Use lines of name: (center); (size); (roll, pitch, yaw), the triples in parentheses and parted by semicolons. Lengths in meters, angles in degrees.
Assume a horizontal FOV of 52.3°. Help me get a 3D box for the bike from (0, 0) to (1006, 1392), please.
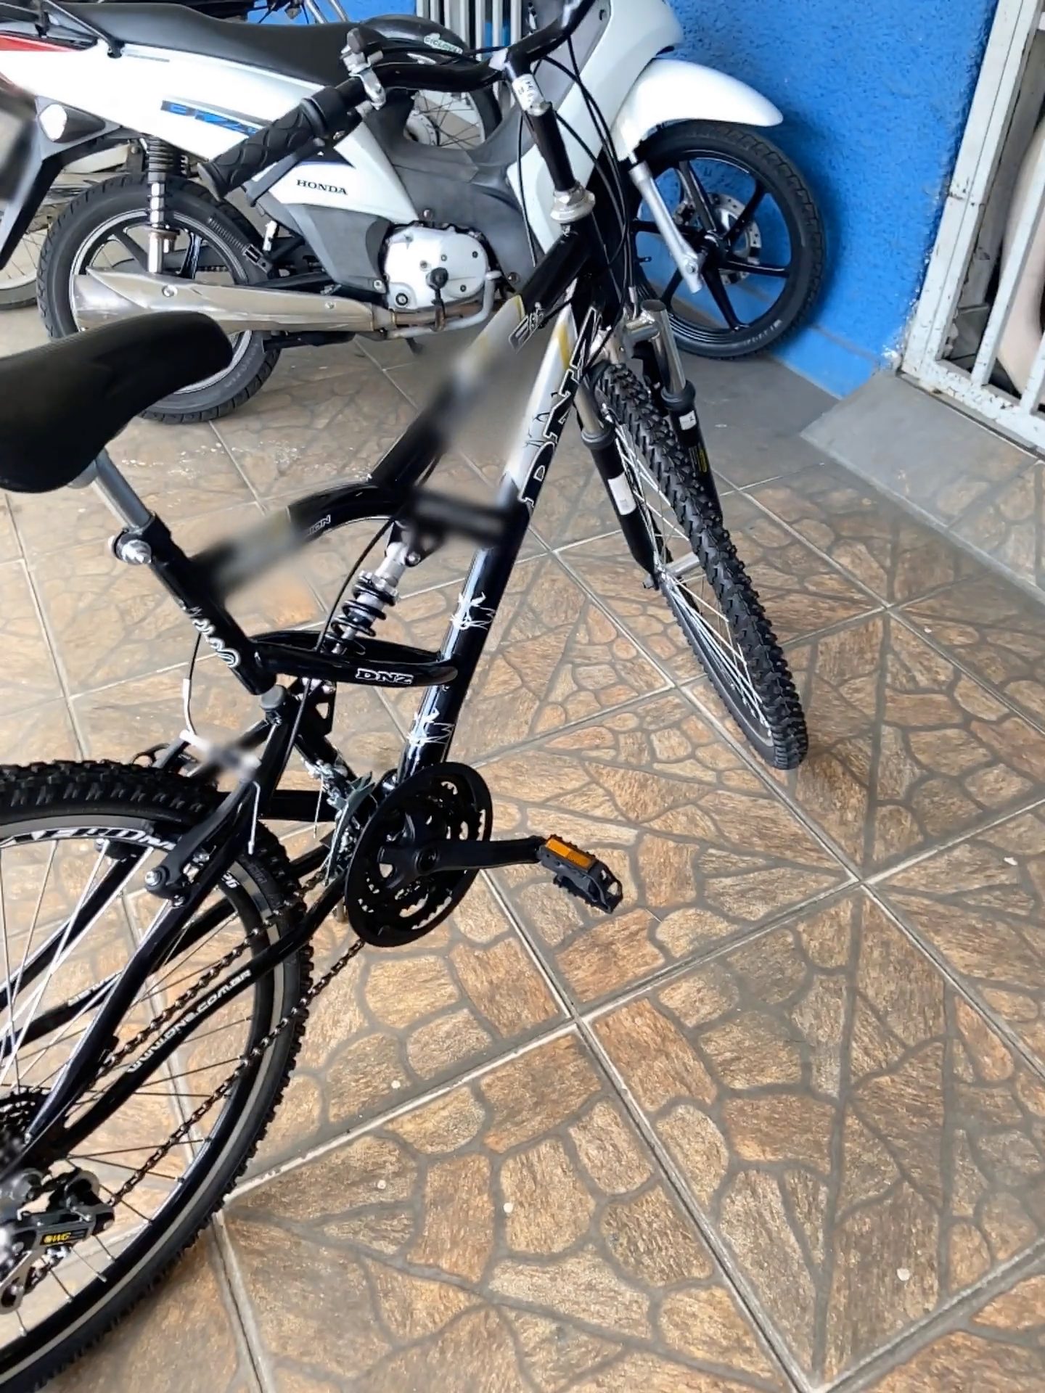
bike: (-0.236, -0.128, 1.013); (0.604, 1.153, 1.593); (23, 49, 23)
